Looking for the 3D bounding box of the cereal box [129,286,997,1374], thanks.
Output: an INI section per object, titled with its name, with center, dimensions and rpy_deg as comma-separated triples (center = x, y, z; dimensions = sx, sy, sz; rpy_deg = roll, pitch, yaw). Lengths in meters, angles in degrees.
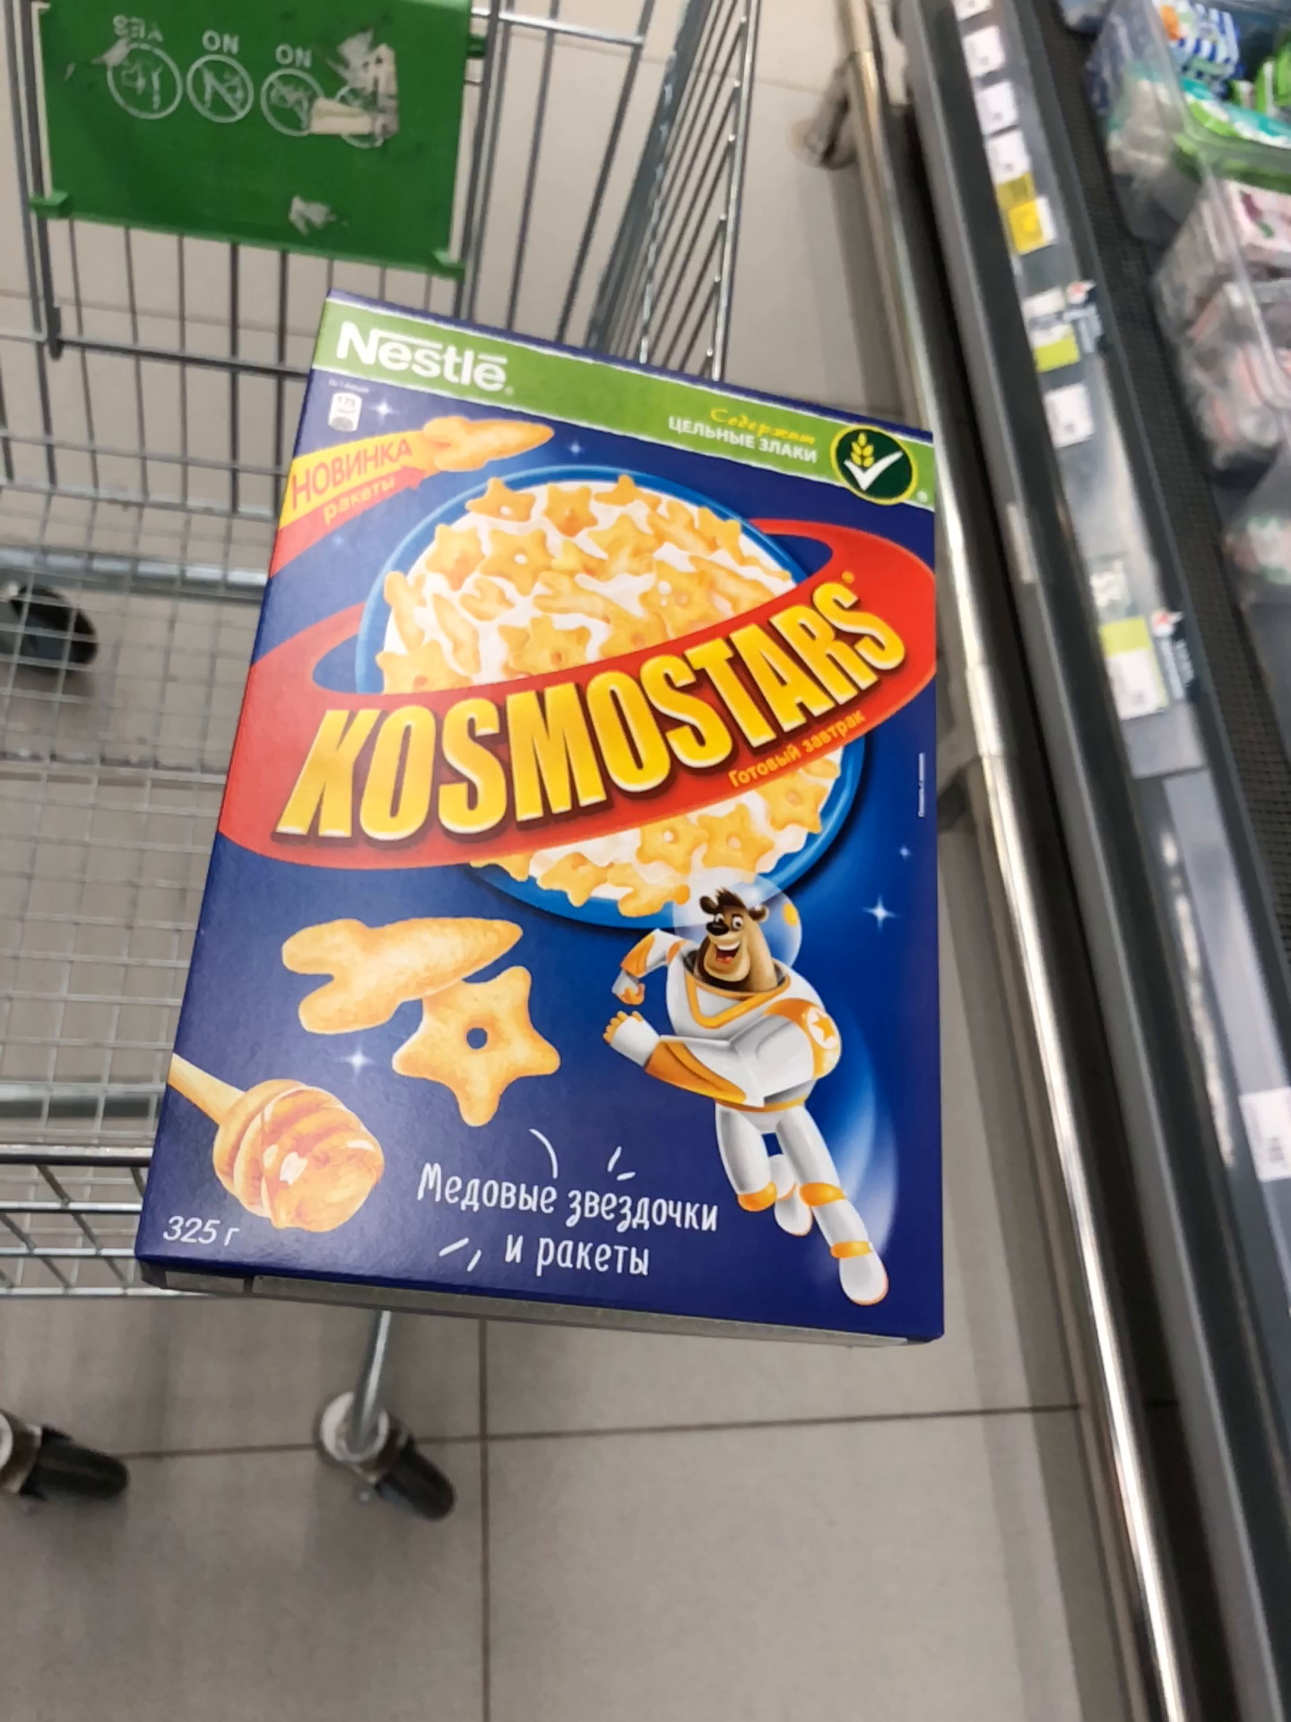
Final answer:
[cereal box]
center = -0.011, -0.012, 0.406
dimensions = 0.200, 0.060, 0.281
rpy_deg = 9, 66, -11
